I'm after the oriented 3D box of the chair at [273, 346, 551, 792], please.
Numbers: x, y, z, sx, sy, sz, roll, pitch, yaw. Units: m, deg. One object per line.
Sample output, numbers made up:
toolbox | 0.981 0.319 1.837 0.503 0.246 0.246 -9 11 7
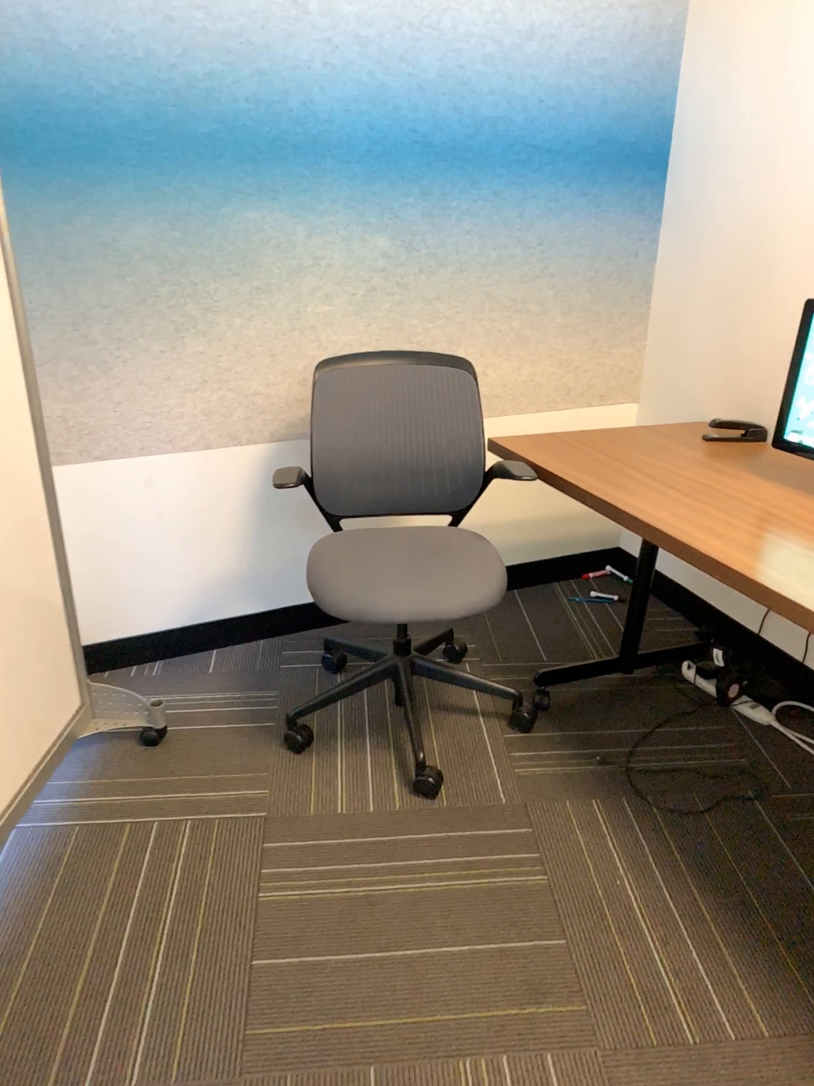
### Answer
chair | -0.009 0.038 2.025 0.540 0.936 0.533 0 21 -3
